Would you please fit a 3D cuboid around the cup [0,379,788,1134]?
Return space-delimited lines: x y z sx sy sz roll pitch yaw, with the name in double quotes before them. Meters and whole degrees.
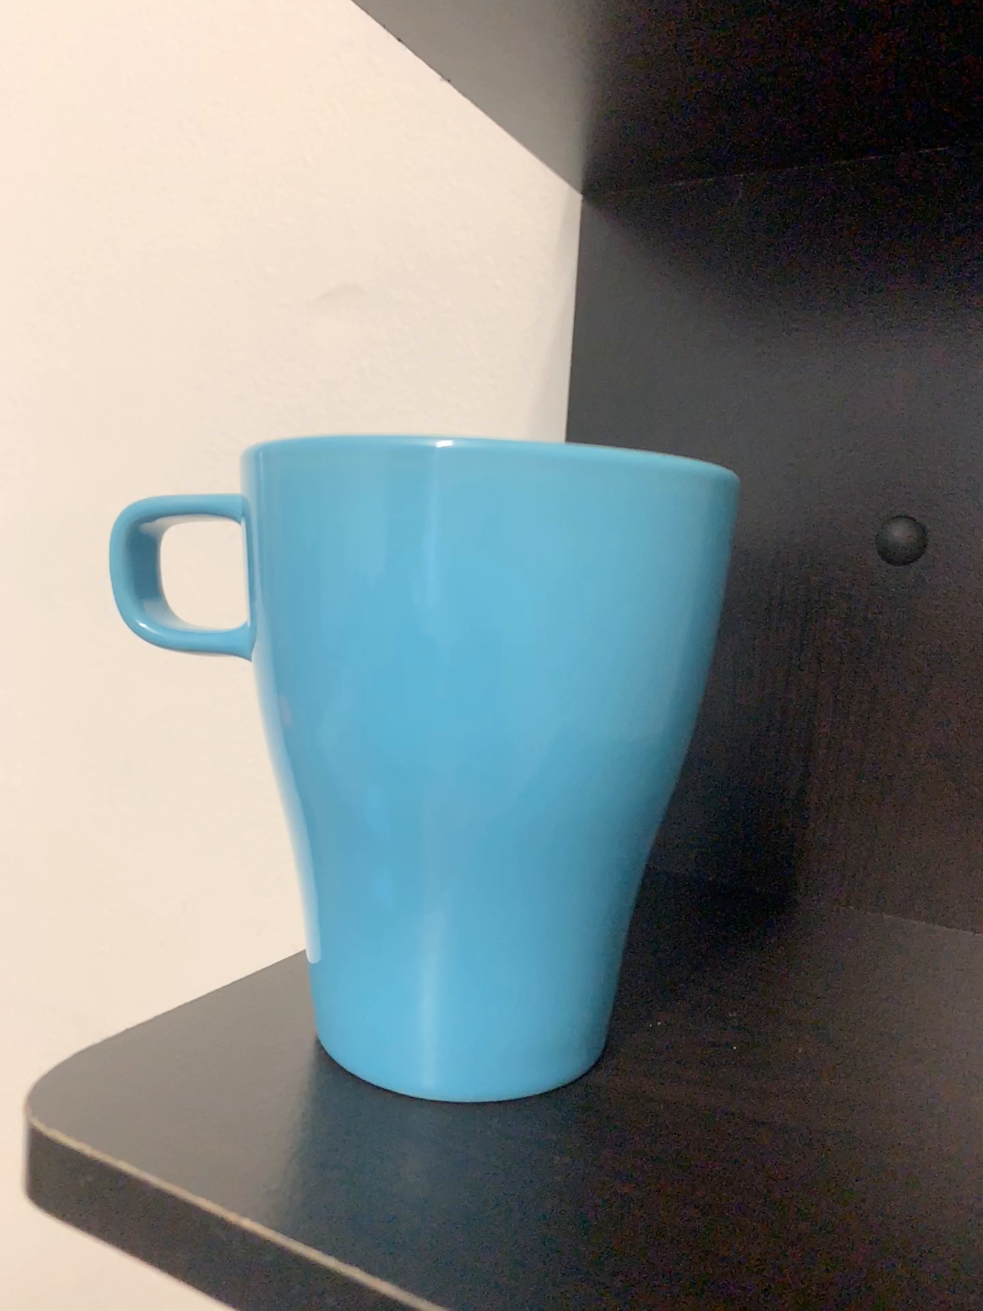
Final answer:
"cup" -0.018 0.010 0.177 0.110 0.090 0.090 4 4 4
